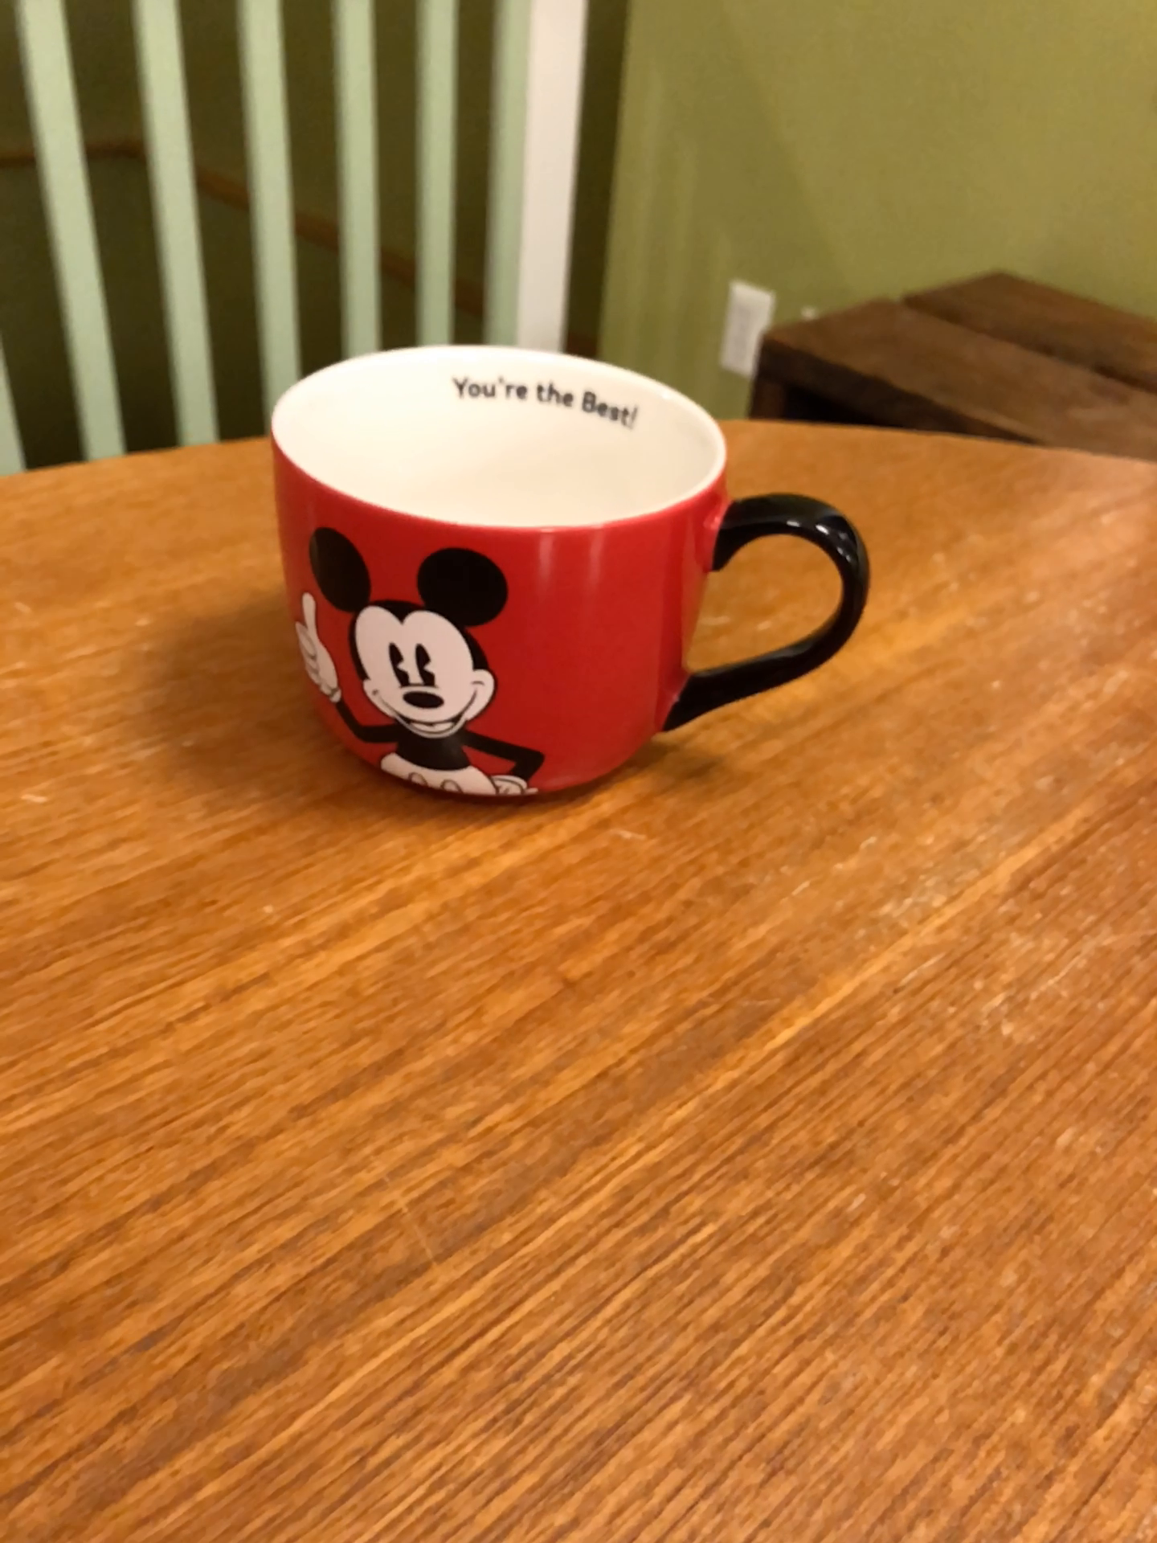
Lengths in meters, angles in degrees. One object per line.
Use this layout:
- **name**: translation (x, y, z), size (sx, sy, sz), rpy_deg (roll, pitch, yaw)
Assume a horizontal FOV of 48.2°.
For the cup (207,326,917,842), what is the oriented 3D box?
- **cup**: translation (-0.001, -0.051, 0.318), size (0.142, 0.069, 0.103), rpy_deg (7, 37, 2)
